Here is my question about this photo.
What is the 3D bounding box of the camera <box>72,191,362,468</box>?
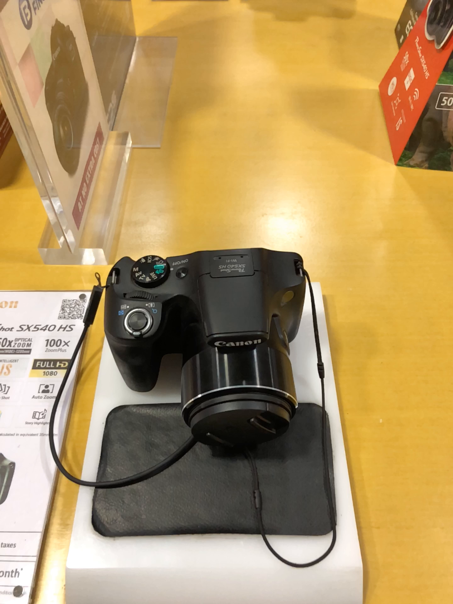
[{"bbox_3d":[-0.007,0.015,0.299,0.130,0.089,0.131,-3,53,-2],"label":"camera"}]
